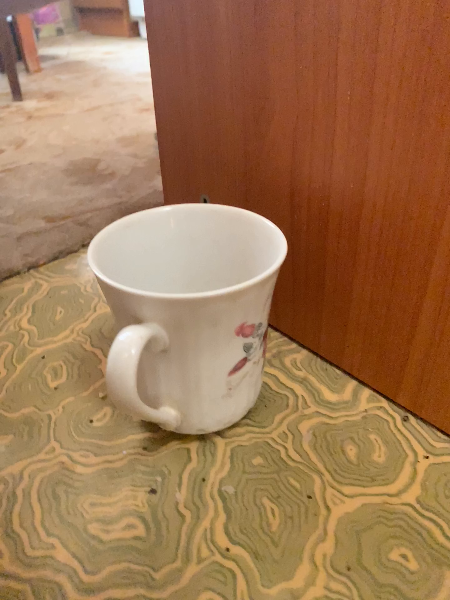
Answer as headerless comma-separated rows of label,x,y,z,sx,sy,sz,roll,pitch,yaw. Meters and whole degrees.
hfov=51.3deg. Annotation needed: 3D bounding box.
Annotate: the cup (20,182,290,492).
cup,-0.017,0.007,0.220,0.086,0.086,0.119,2,33,5
